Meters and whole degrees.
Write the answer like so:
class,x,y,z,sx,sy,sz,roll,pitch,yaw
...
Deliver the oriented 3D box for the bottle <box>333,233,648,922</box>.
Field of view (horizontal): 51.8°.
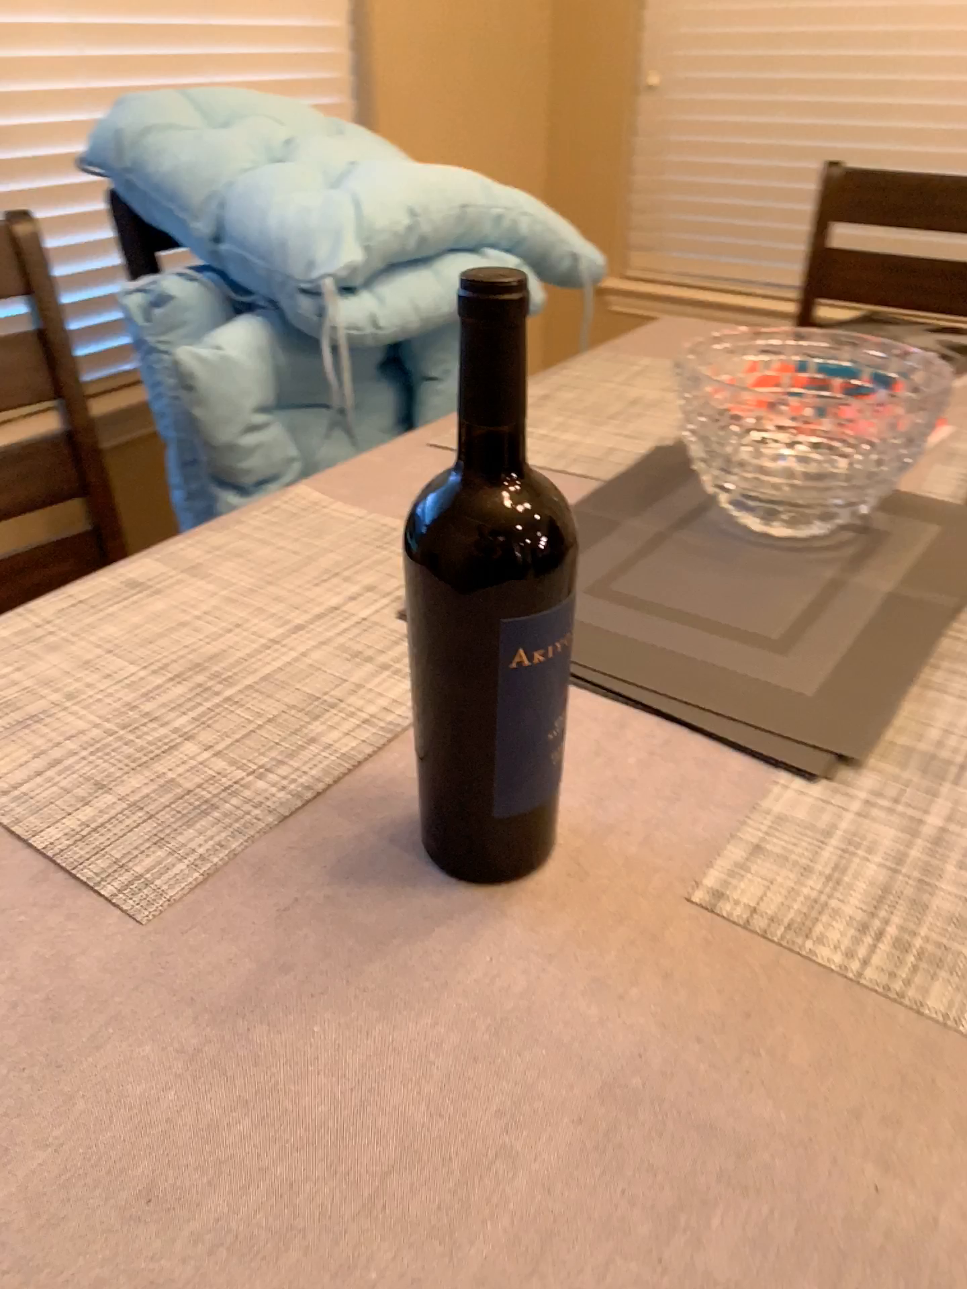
class,x,y,z,sx,sy,sz,roll,pitch,yaw
bottle,0.004,-0.023,0.468,0.090,0.298,0.090,0,31,0
